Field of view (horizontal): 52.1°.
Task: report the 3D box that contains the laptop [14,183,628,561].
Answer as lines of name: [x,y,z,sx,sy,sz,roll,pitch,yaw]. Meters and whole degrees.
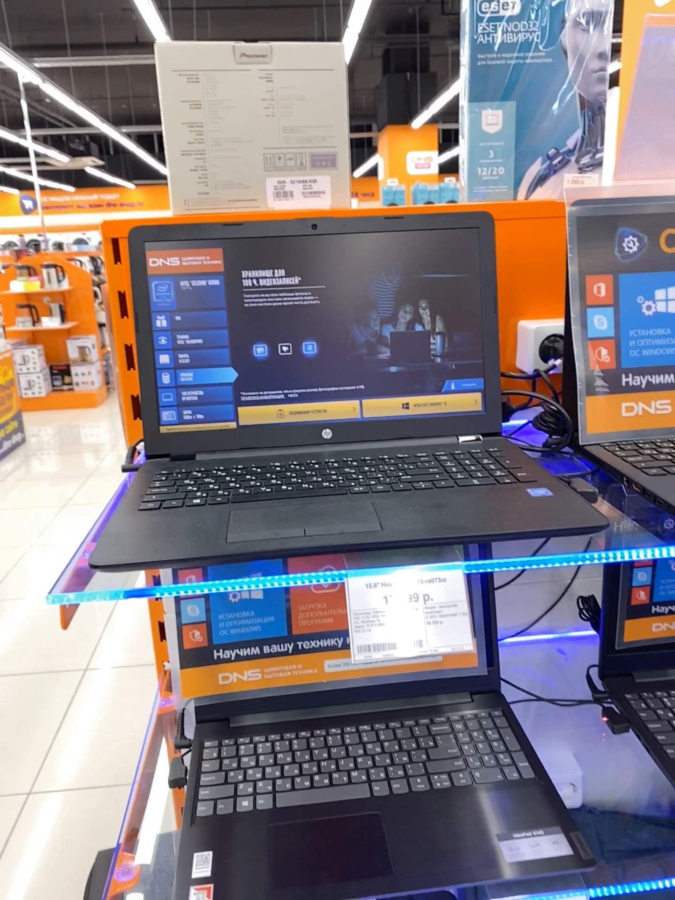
laptop: [-0.019,-0.091,0.620,0.388,0.235,0.323,-4,16,-4]
